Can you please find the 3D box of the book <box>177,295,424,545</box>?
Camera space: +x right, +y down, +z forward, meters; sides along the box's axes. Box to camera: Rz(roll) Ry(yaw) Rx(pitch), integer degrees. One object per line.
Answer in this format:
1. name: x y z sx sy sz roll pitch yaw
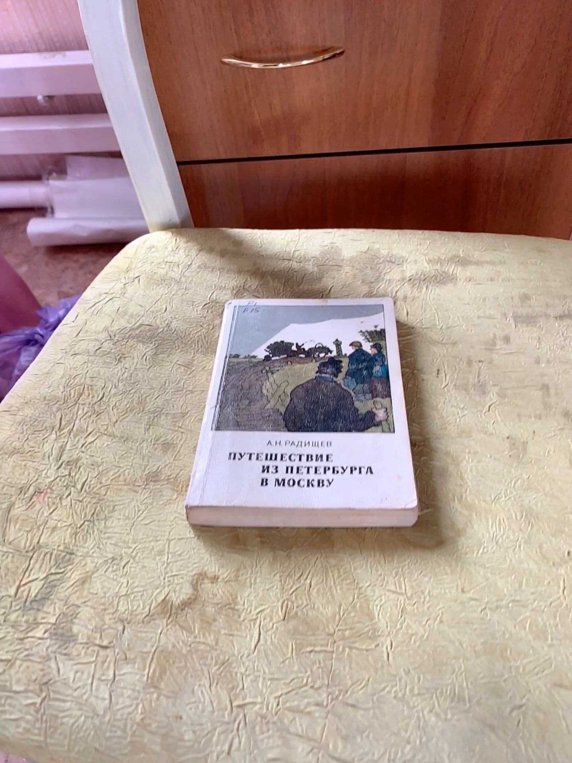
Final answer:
1. book: 0.011 0.011 0.329 0.111 0.020 0.163 0 45 5
